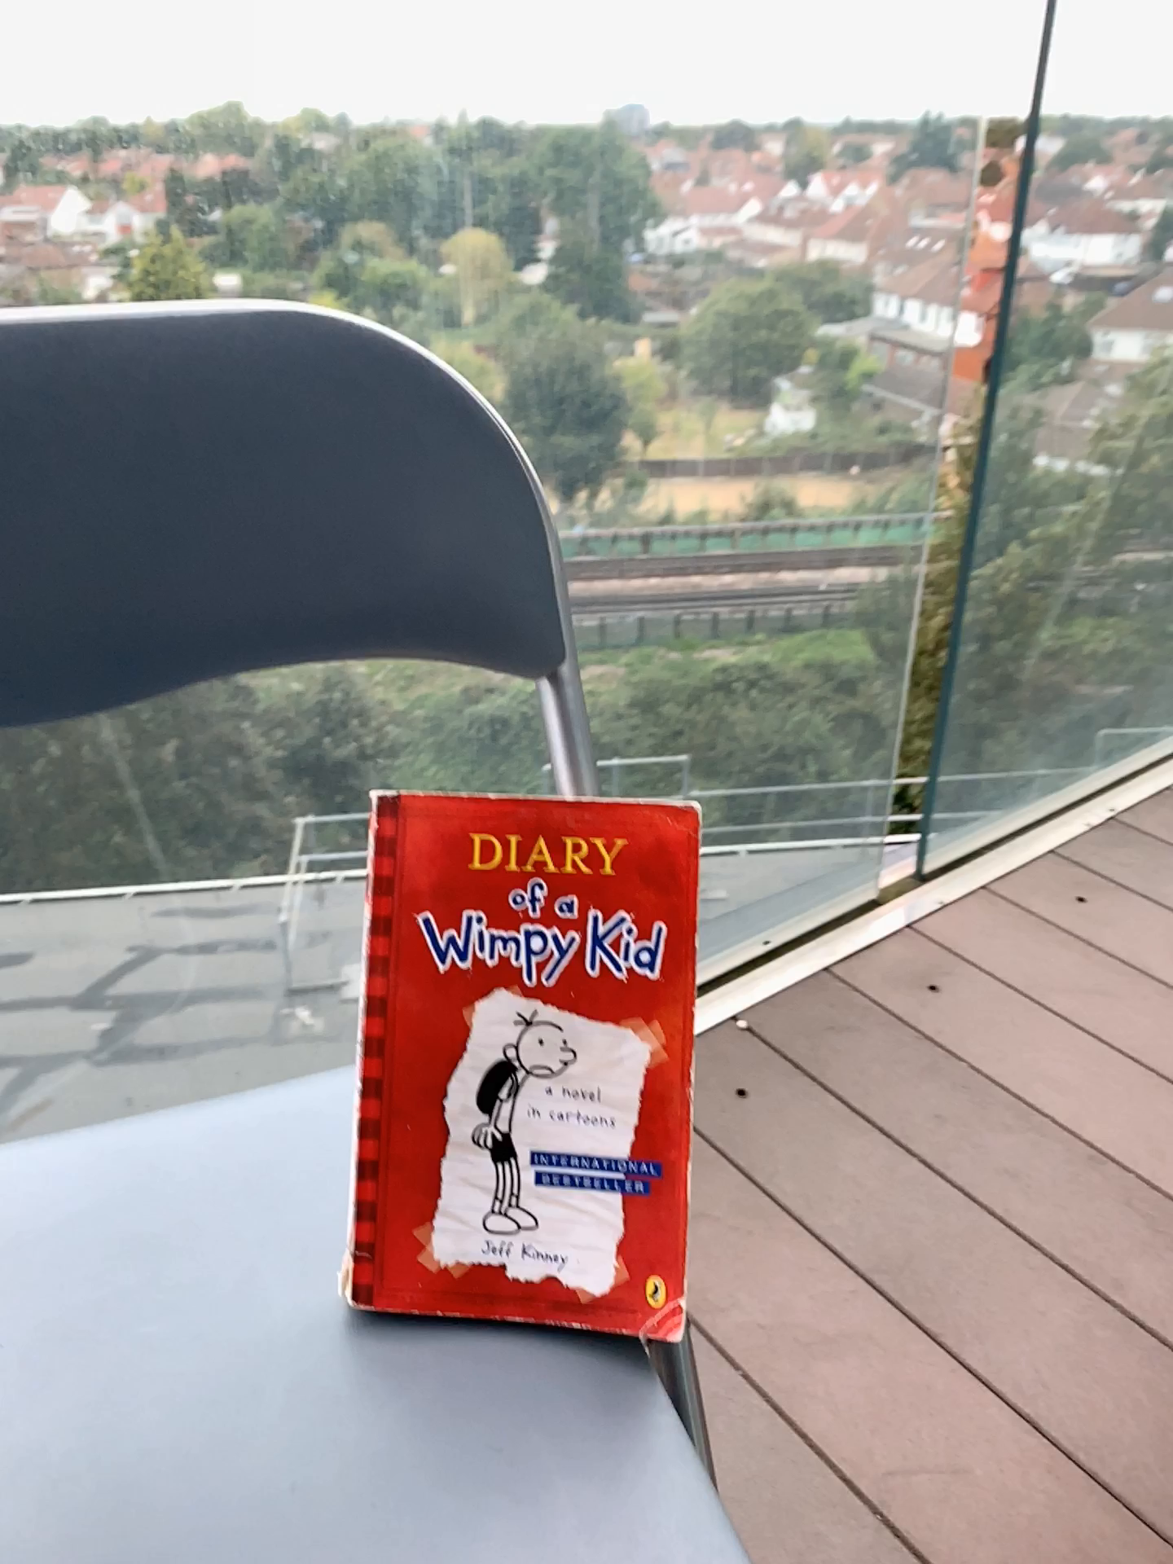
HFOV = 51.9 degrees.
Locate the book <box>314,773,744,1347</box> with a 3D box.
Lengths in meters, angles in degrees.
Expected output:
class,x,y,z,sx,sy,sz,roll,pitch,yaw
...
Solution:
class,x,y,z,sx,sy,sz,roll,pitch,yaw
book,-0.019,0.101,0.467,0.150,0.200,0.040,3,-4,5
